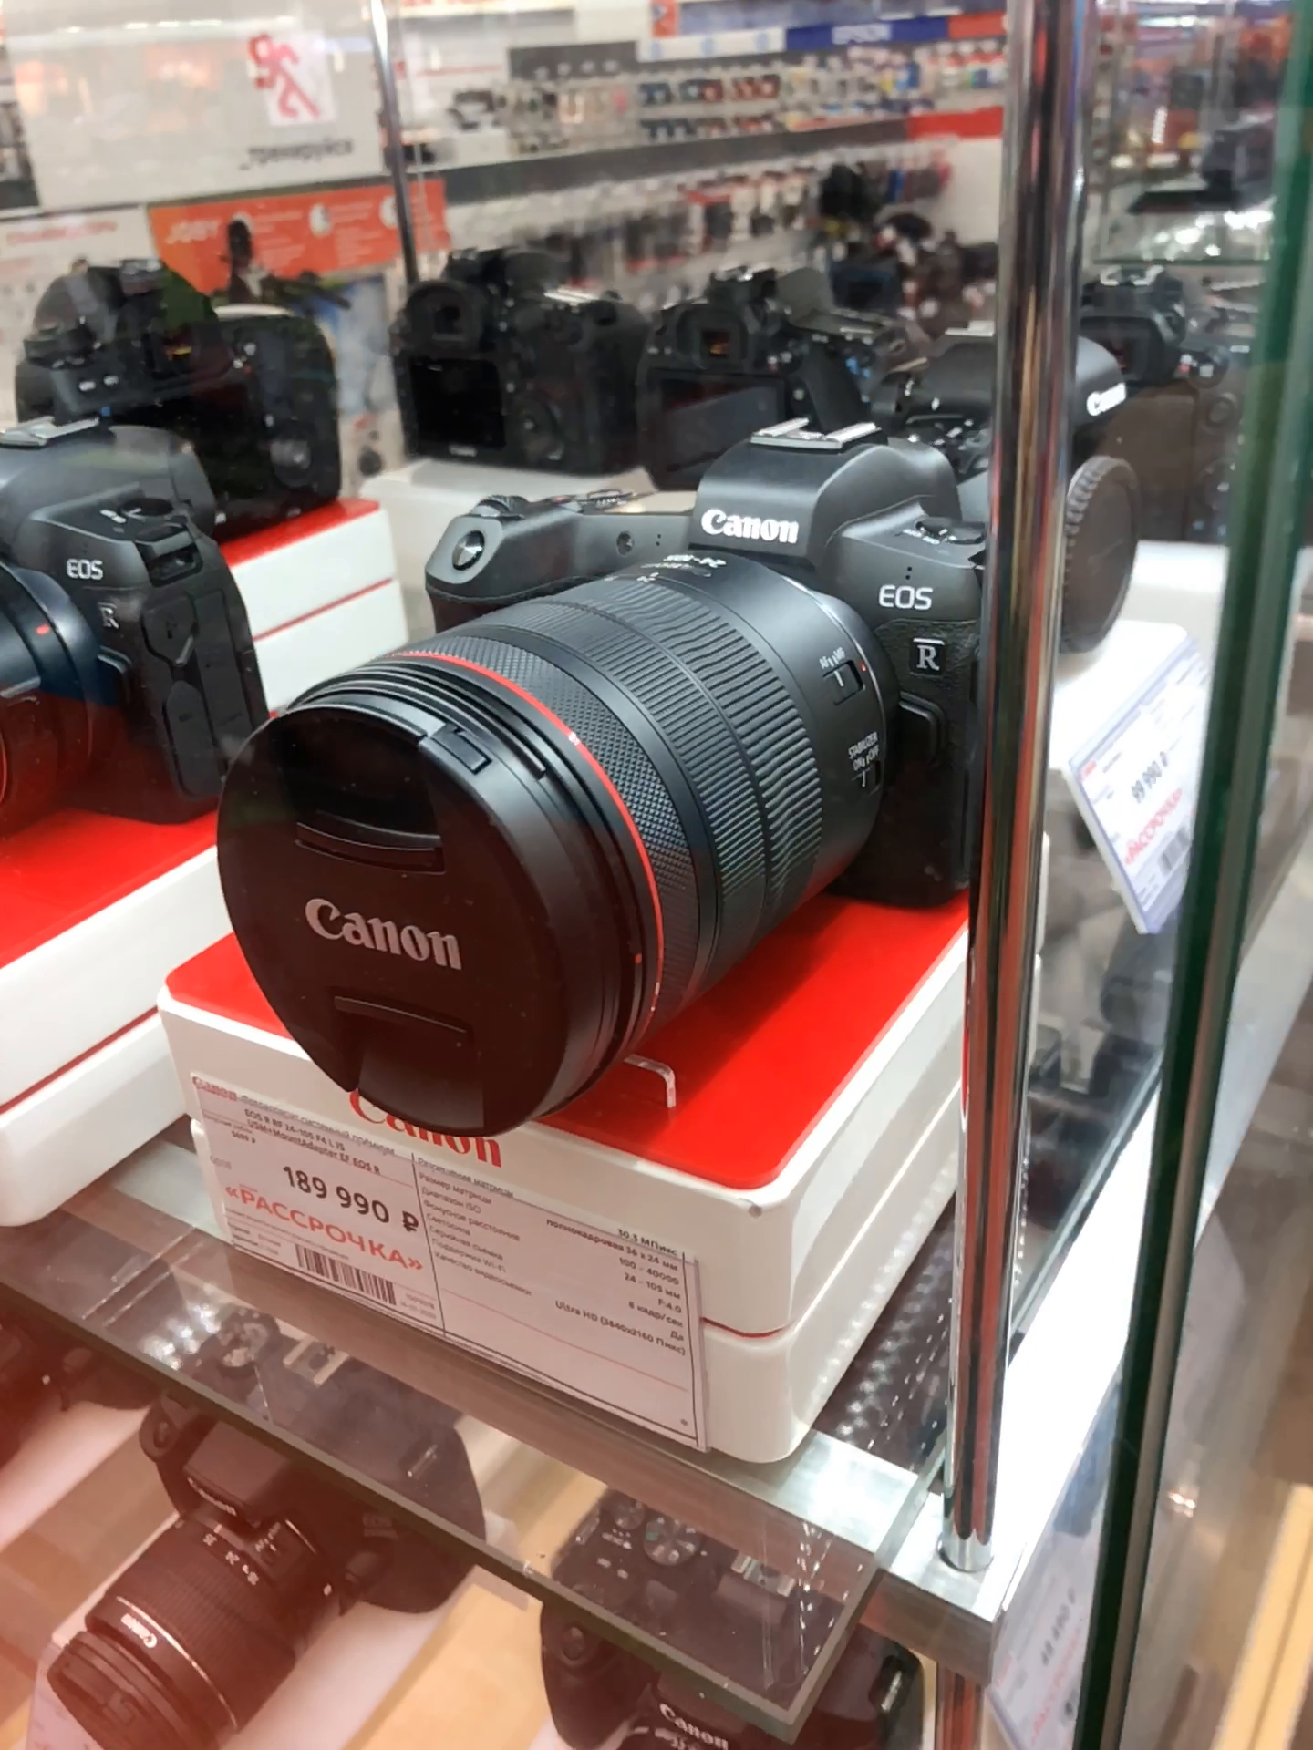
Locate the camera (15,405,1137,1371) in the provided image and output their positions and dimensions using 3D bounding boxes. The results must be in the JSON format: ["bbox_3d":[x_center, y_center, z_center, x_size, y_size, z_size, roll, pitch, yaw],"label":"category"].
[{"bbox_3d":[0.000,-0.023,0.311,0.140,0.110,0.184,14,33,30],"label":"camera"}]
